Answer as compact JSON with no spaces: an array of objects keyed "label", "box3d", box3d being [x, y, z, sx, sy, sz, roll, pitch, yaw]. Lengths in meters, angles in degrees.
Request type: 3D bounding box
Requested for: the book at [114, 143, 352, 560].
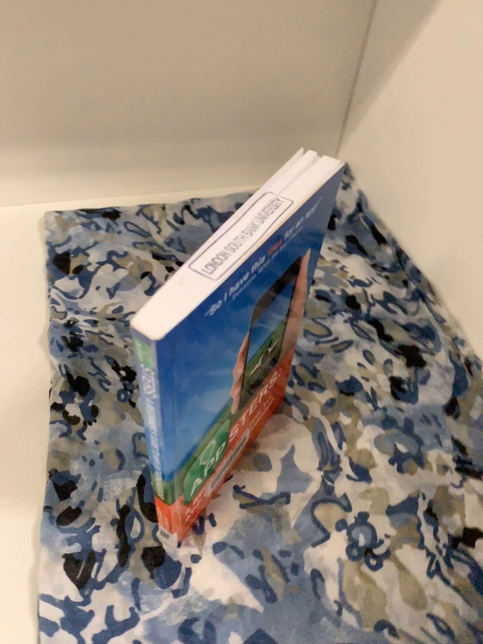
[{"label":"book","box3d":[-0.001,0.029,0.272,0.024,0.203,0.141,26,51,17]}]
